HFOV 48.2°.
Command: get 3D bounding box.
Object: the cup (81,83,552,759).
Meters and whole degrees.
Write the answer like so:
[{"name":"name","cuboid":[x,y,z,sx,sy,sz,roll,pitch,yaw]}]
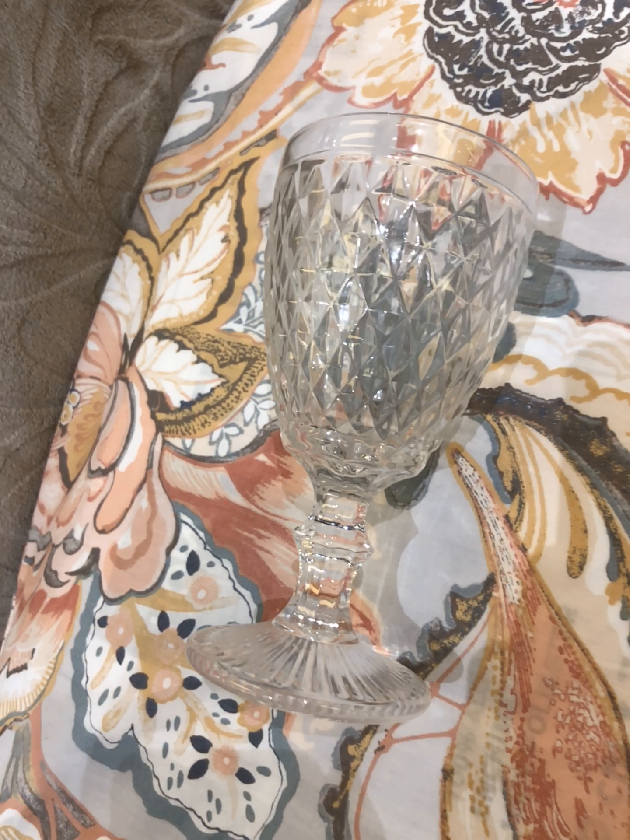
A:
[{"name":"cup","cuboid":[0.011,-0.005,0.224,0.090,0.080,0.170,11,81,22]}]
